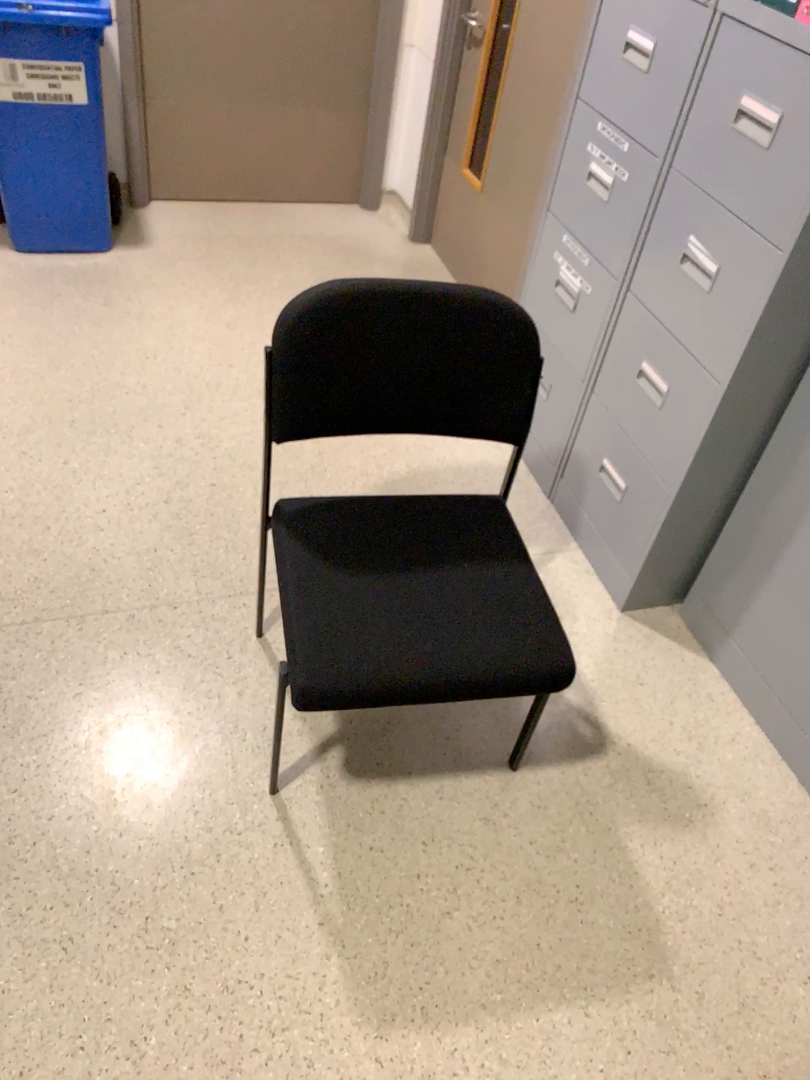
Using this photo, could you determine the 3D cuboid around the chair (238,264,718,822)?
[{"bbox_3d":[0.023,0.016,1.611,0.631,0.852,0.595,-3,44,-15],"label":"chair"}]
